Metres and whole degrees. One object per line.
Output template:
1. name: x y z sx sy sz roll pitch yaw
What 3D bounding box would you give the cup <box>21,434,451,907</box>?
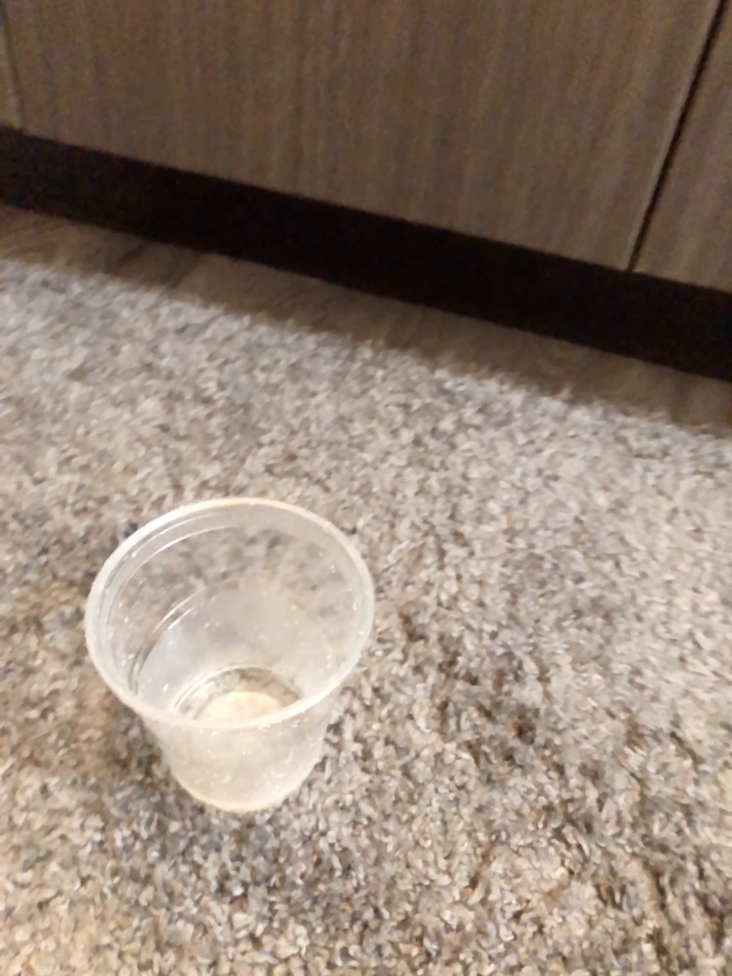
1. cup: -0.040 0.057 0.276 0.090 0.090 0.090 4 43 -4
